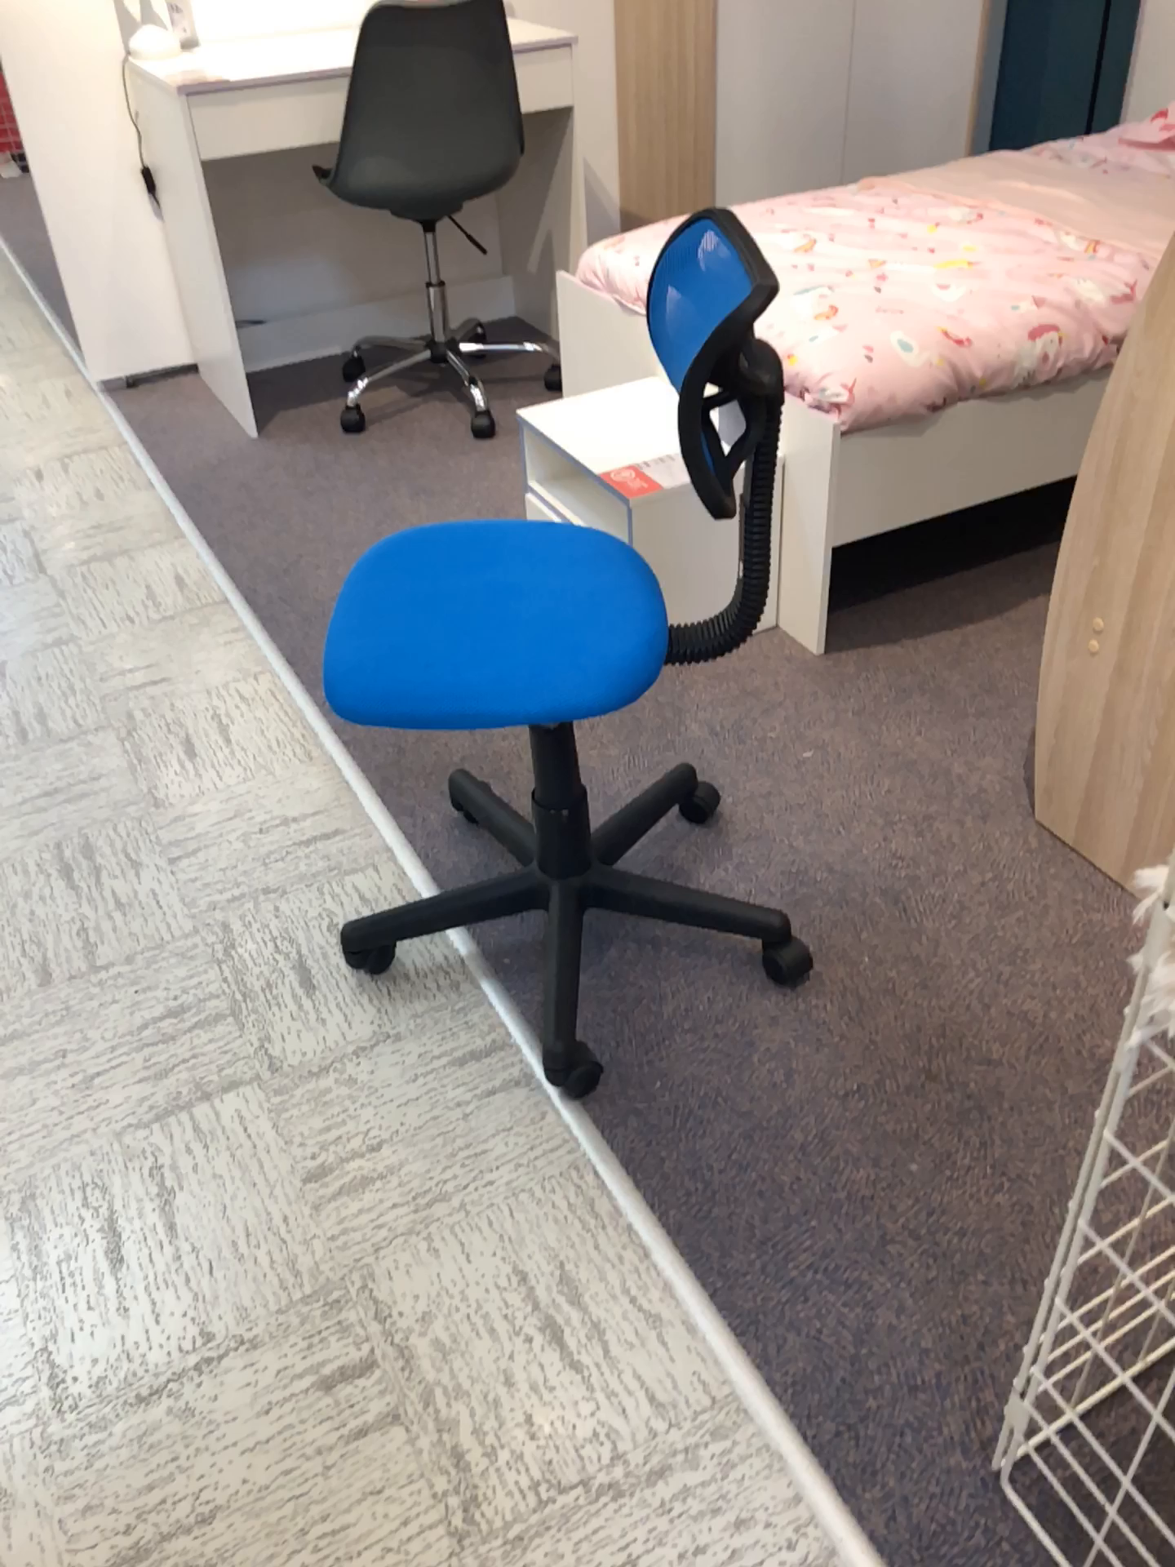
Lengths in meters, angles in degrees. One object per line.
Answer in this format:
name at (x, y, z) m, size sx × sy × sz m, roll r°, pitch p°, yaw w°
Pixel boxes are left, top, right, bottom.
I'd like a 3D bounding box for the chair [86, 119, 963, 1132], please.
chair at (-0.061, -0.193, 1.385) m, size 0.610 × 0.795 × 0.664 m, roll -8°, pitch 37°, yaw -5°
